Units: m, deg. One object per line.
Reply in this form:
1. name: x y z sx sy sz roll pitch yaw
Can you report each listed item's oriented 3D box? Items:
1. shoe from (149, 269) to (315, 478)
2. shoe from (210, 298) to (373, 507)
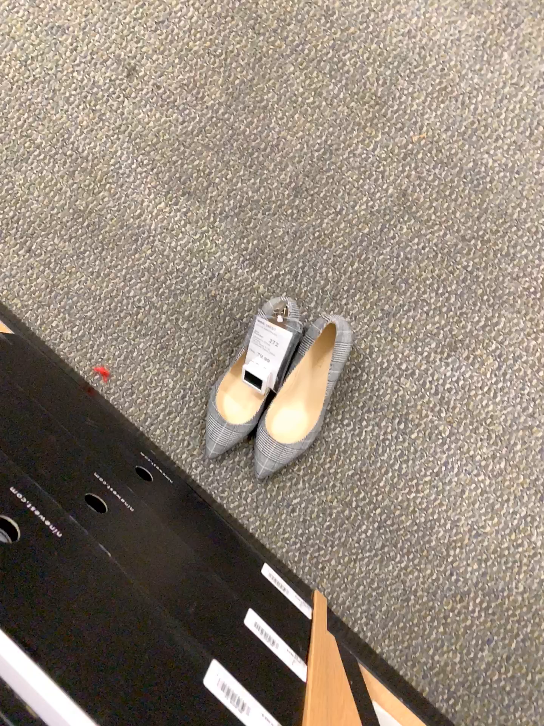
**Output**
1. shoe: -0.042 0.015 0.726 0.090 0.150 0.230 30 91 7
2. shoe: 0.030 0.048 0.725 0.090 0.150 0.230 30 91 7
